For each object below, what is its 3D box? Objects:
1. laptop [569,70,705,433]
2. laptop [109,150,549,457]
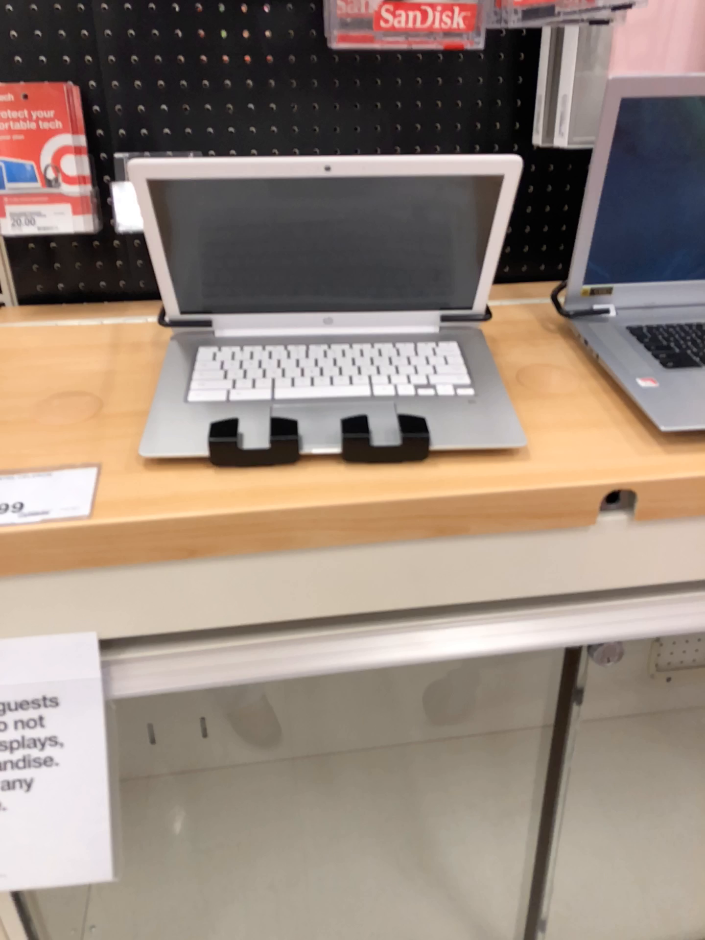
[{"bbox_3d":[0.406,-0.210,0.691,0.320,0.231,0.231,-4,31,-3],"label":"laptop"},{"bbox_3d":[-0.022,-0.156,0.673,0.322,0.172,0.201,-2,34,-3],"label":"laptop"}]
